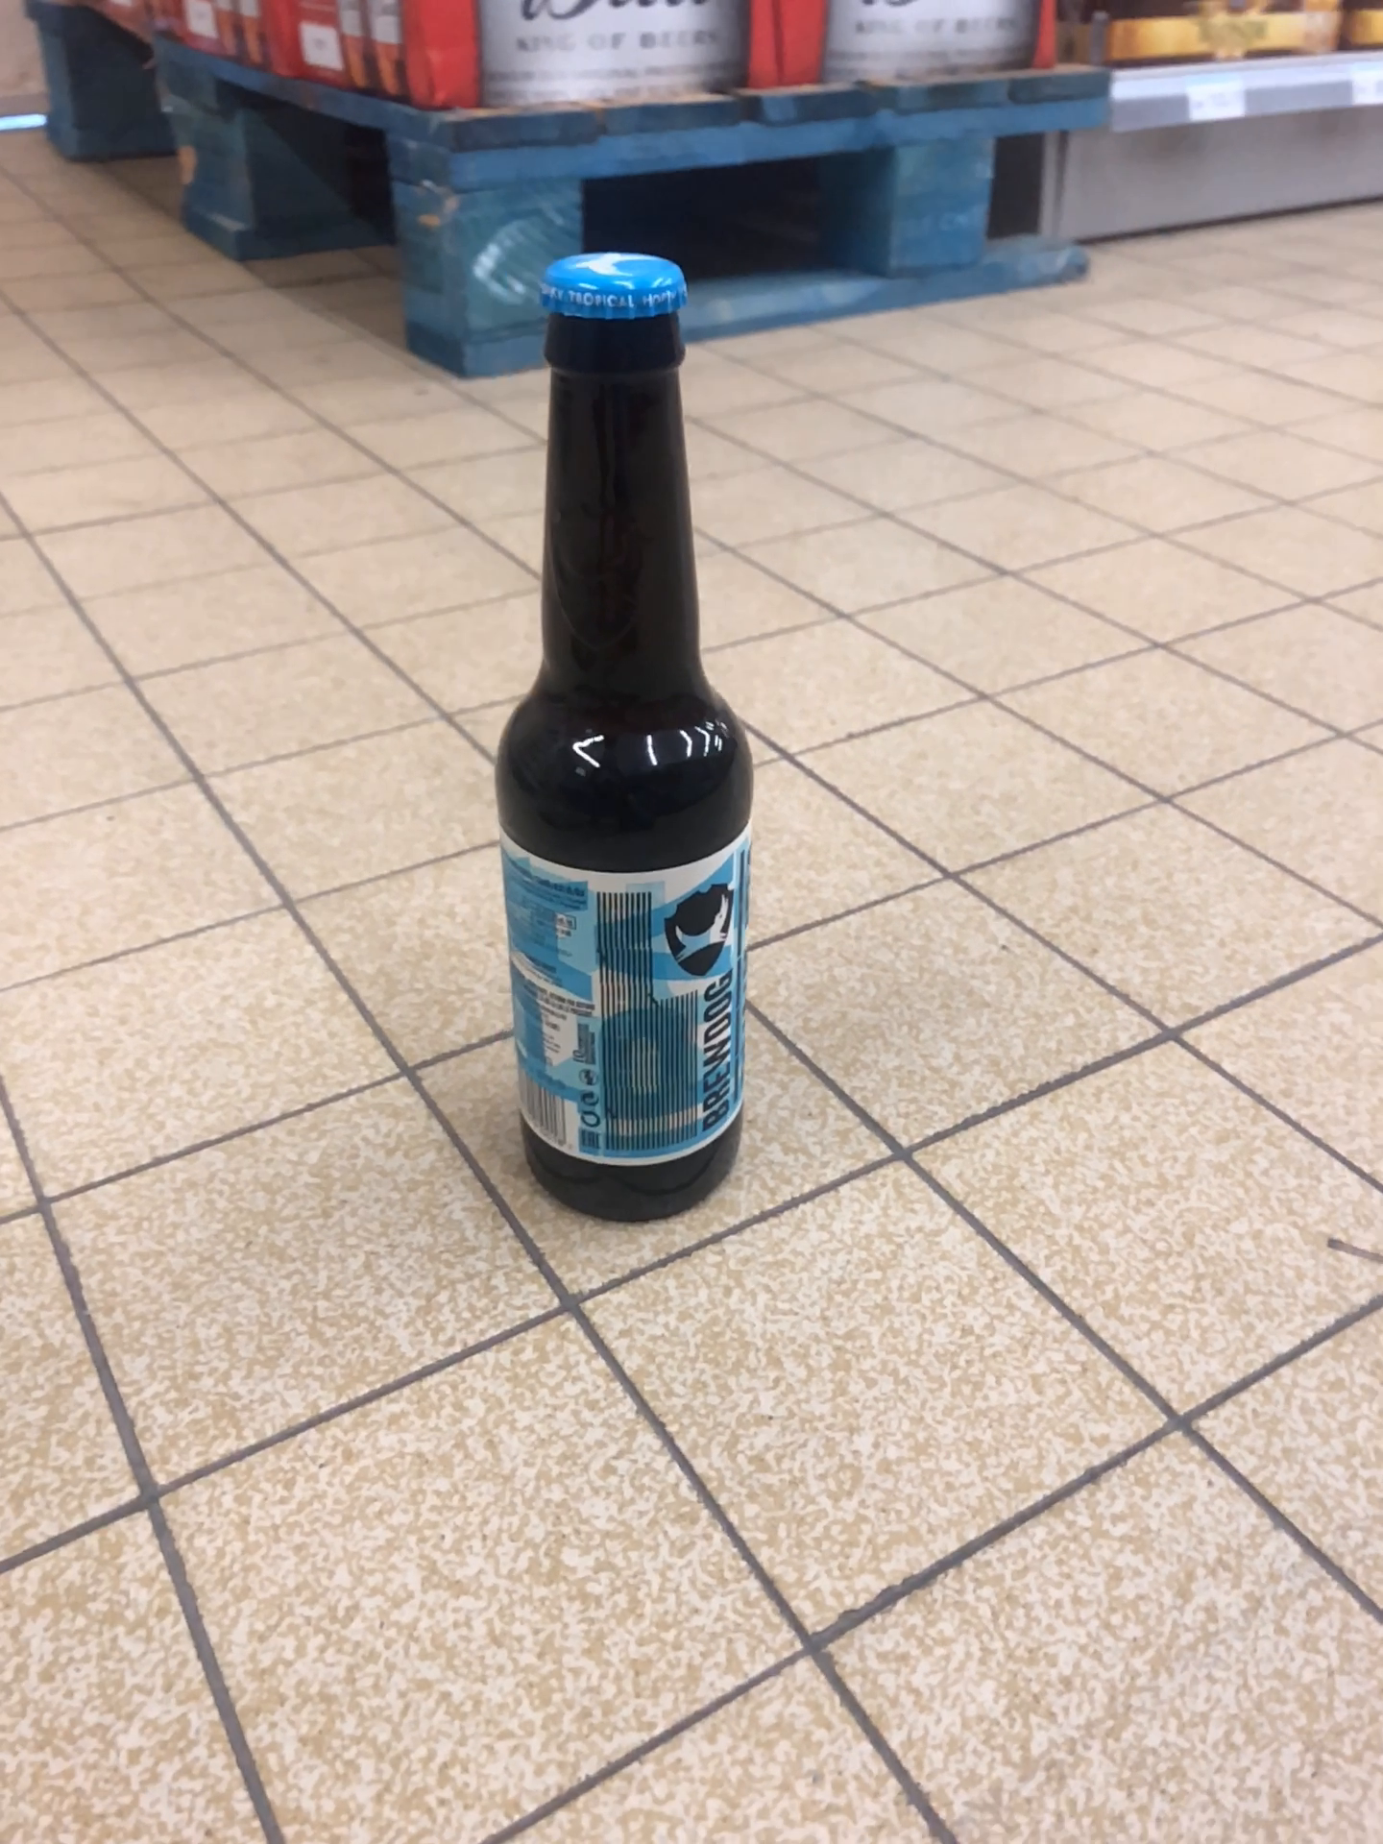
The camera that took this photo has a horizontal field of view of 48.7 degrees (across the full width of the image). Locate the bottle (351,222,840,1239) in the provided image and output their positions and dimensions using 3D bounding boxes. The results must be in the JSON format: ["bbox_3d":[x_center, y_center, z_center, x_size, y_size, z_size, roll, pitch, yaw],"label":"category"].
[{"bbox_3d":[-0.015,-0.037,0.345,0.070,0.209,0.070,0,33,0],"label":"bottle"}]
